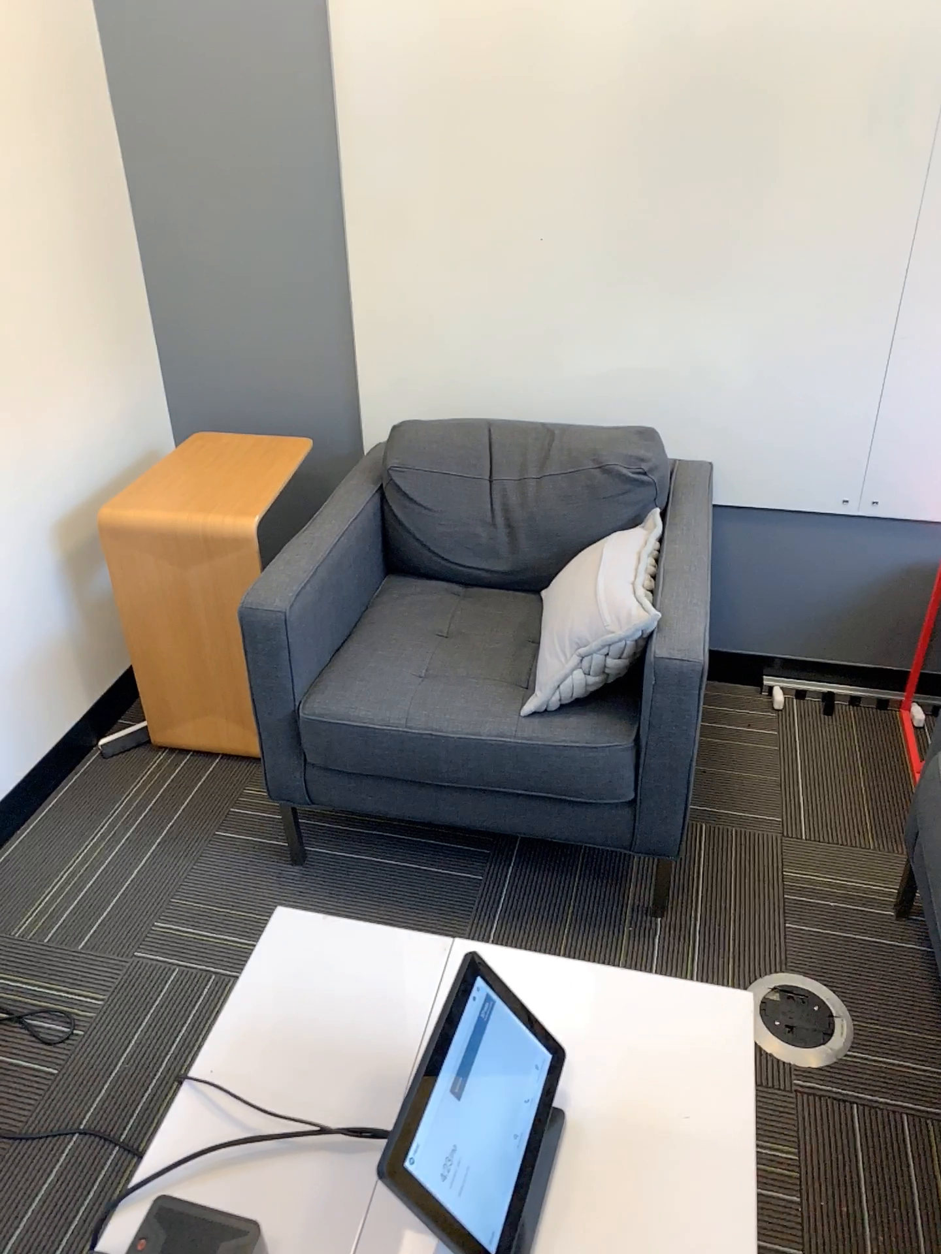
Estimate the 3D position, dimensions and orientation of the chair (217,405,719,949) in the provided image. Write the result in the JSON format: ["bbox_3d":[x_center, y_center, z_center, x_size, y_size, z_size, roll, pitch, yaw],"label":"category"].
[{"bbox_3d":[0.079,0.032,2.147,0.841,0.716,0.945,6,33,11],"label":"chair"}]
